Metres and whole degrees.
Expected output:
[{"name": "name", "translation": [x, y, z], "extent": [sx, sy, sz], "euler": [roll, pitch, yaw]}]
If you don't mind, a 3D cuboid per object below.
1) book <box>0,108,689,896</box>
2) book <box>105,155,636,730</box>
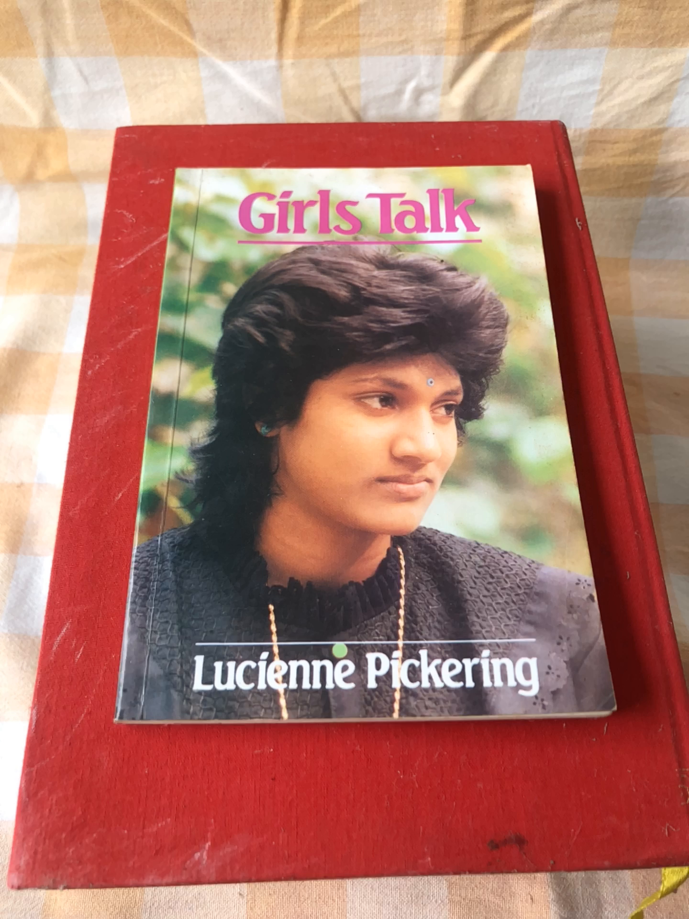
[{"name": "book", "translation": [0.004, -0.009, 0.244], "extent": [0.174, 0.031, 0.249], "euler": [-2, 64, -1]}, {"name": "book", "translation": [0.005, -0.015, 0.237], "extent": [0.130, 0.025, 0.182], "euler": [-1, 66, 0]}]
